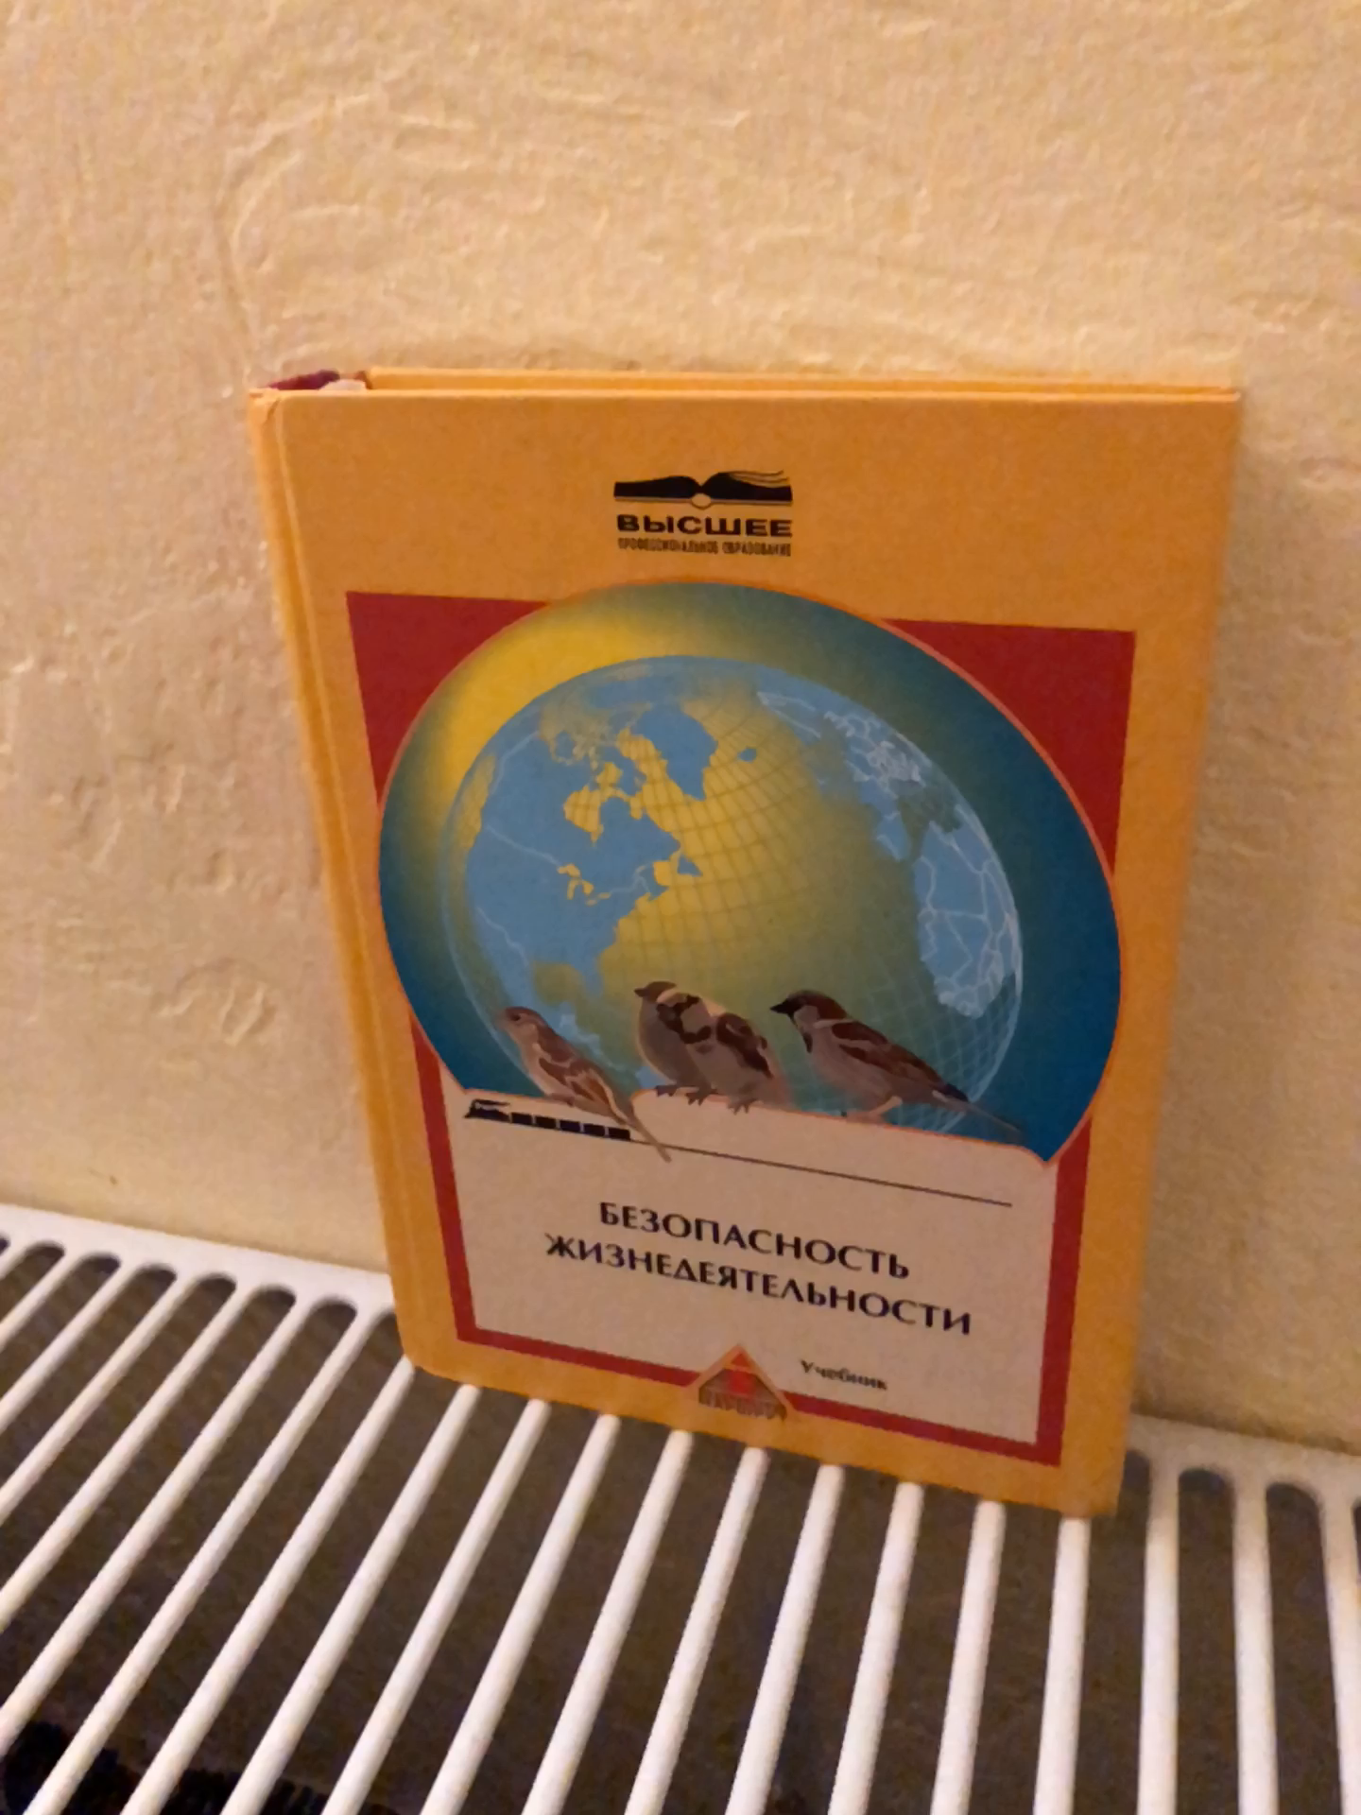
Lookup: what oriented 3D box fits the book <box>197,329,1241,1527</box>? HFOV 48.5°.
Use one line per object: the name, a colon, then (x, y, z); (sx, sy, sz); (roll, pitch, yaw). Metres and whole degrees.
book: (0.010, 0.008, 0.272); (0.150, 0.202, 0.041); (6, 30, 19)
